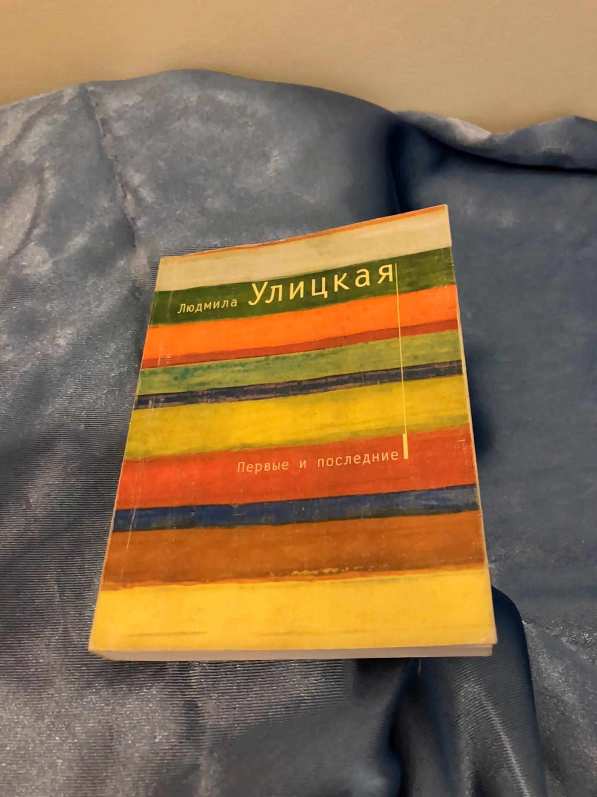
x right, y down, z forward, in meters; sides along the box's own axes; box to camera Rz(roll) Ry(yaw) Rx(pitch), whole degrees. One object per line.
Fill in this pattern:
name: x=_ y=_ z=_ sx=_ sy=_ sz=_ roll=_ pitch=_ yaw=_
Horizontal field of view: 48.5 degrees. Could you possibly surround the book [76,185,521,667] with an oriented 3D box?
book: x=0.000 y=0.004 z=0.238 sx=0.129 sy=0.026 sz=0.167 roll=-7 pitch=58 yaw=15
